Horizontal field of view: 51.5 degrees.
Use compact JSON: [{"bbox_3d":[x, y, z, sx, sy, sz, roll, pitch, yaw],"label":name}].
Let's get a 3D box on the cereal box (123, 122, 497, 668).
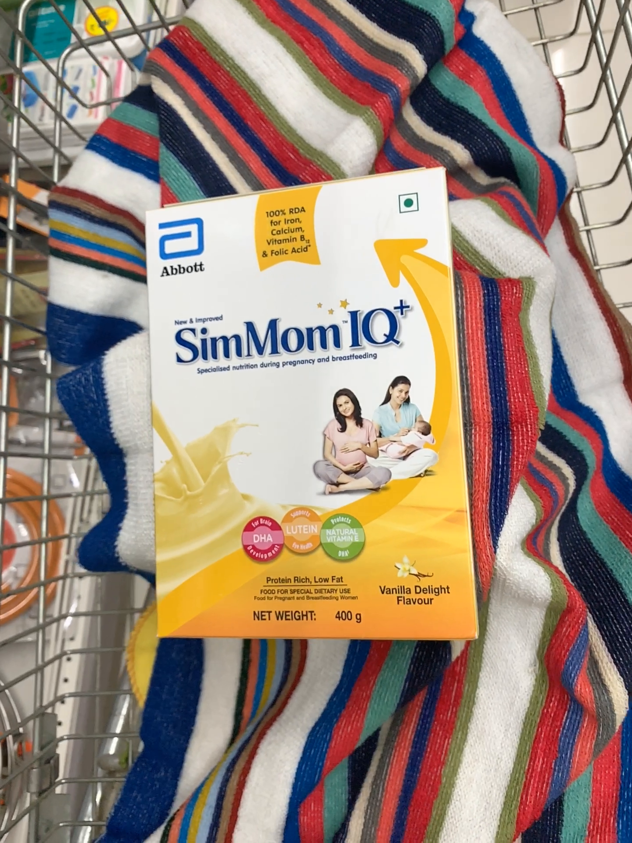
[{"bbox_3d":[-0.004,-0.007,0.277,0.140,0.050,0.200,-3,85,12],"label":"cereal box"}]
